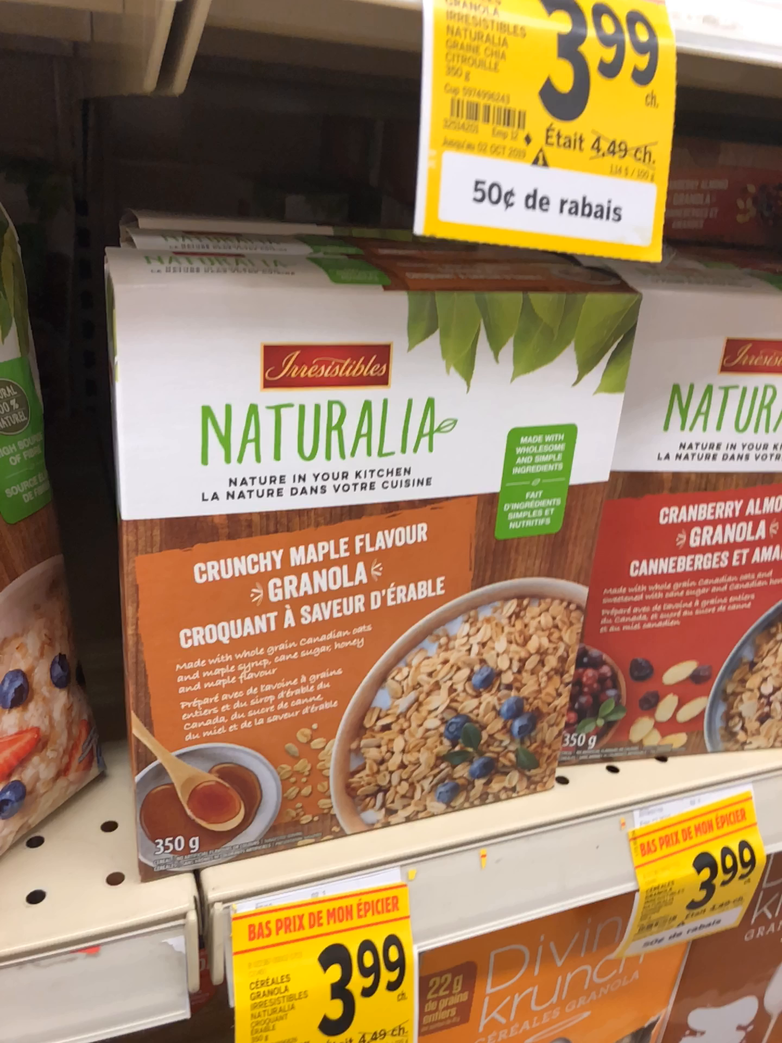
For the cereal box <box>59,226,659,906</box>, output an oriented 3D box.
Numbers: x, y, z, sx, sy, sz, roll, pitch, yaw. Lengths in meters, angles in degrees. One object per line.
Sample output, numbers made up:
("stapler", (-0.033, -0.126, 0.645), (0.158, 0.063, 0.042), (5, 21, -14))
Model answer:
("cereal box", (-0.015, 0.015, 0.298), (0.170, 0.209, 0.050), (-5, 26, -22))
